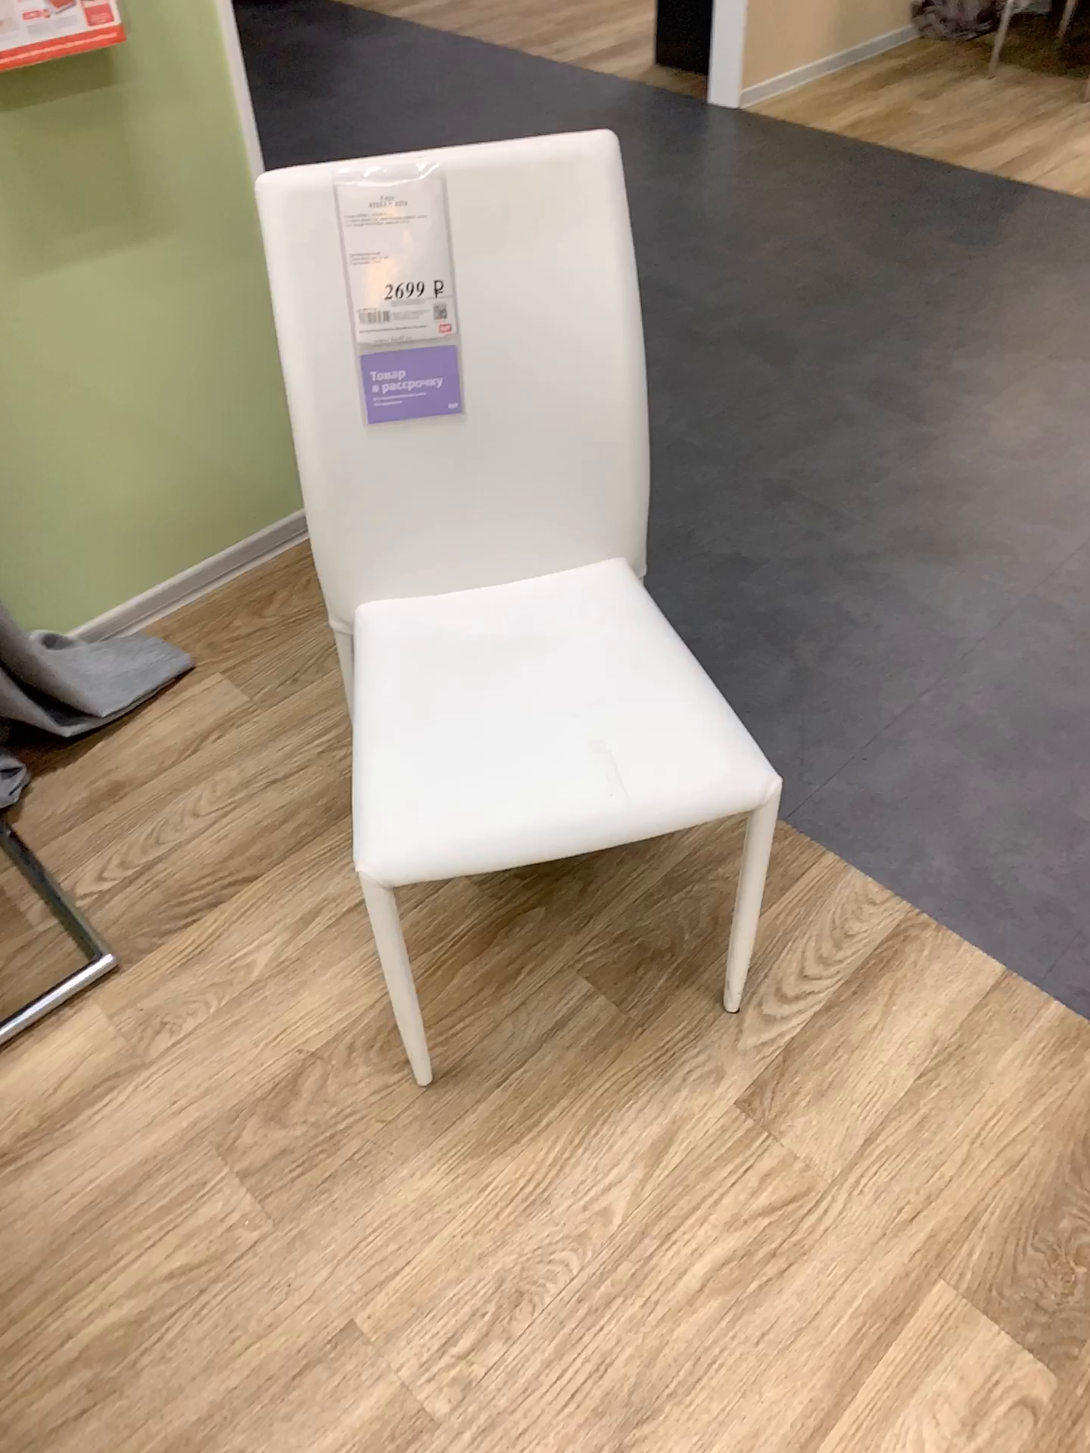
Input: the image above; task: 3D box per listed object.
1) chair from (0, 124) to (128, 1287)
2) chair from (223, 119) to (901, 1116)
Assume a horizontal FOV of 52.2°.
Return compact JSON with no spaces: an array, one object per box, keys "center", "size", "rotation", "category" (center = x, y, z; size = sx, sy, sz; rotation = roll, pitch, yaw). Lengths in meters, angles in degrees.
[{"center":[-0.924,0.022,1.129],"size":[0.562,0.945,0.451],"rotation":[-35,54,-29],"category":"chair"},{"center":[-0.021,-0.078,1.267],"size":[0.450,0.925,0.553],"rotation":[-11,46,-9],"category":"chair"}]
